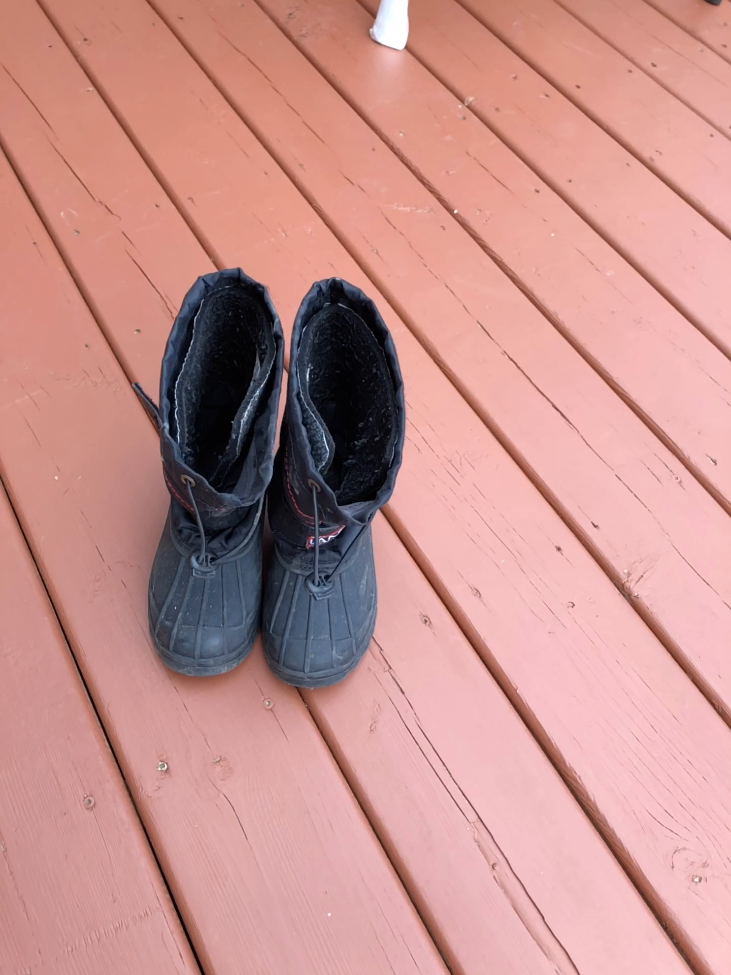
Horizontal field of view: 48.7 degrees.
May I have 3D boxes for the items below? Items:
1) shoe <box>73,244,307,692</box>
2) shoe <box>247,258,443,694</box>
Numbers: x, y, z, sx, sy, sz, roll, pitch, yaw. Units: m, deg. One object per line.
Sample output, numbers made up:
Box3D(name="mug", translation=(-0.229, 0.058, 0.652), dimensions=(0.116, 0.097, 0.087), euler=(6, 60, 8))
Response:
Box3D(name="shoe", translation=(-0.100, -0.003, 0.559), dimensions=(0.100, 0.230, 0.210), euler=(4, 57, -2))
Box3D(name="shoe", translation=(-0.022, 0.002, 0.565), dimensions=(0.100, 0.230, 0.210), euler=(0, 57, -4))
